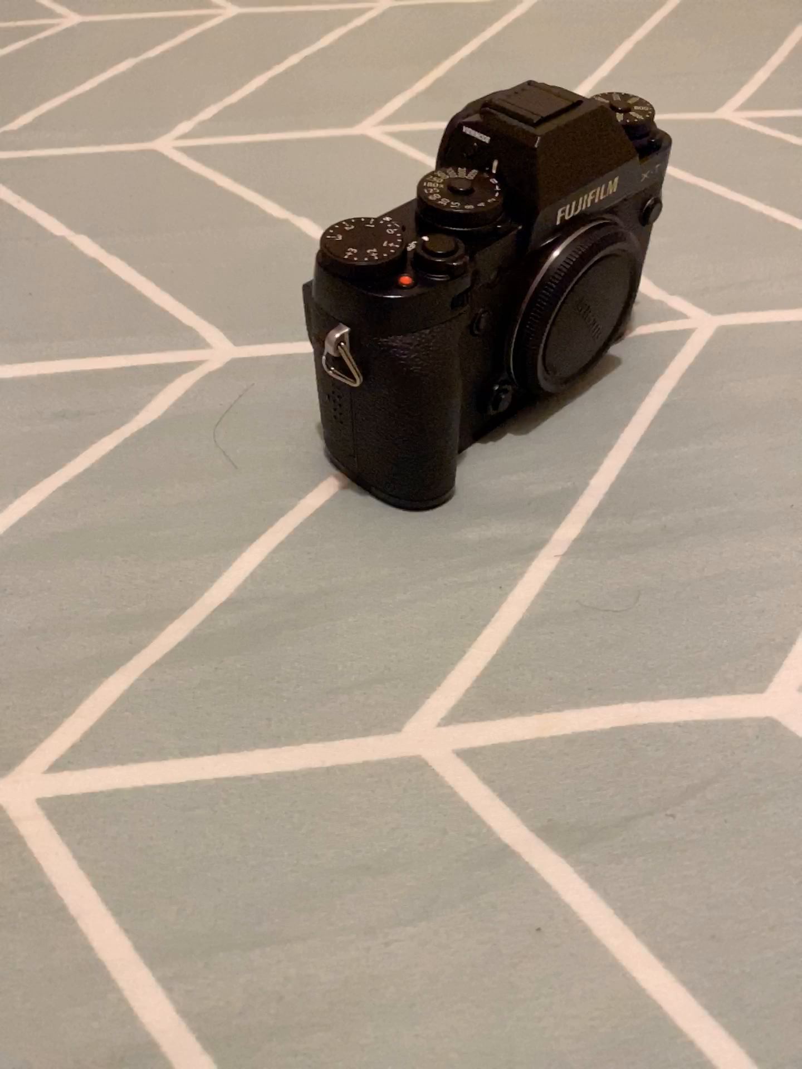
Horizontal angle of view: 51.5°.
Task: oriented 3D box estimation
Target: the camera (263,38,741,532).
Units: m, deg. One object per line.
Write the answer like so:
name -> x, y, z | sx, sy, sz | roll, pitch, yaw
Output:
camera -> 0.031, -0.077, 0.251 | 0.130, 0.087, 0.052 | -37, 60, -26
